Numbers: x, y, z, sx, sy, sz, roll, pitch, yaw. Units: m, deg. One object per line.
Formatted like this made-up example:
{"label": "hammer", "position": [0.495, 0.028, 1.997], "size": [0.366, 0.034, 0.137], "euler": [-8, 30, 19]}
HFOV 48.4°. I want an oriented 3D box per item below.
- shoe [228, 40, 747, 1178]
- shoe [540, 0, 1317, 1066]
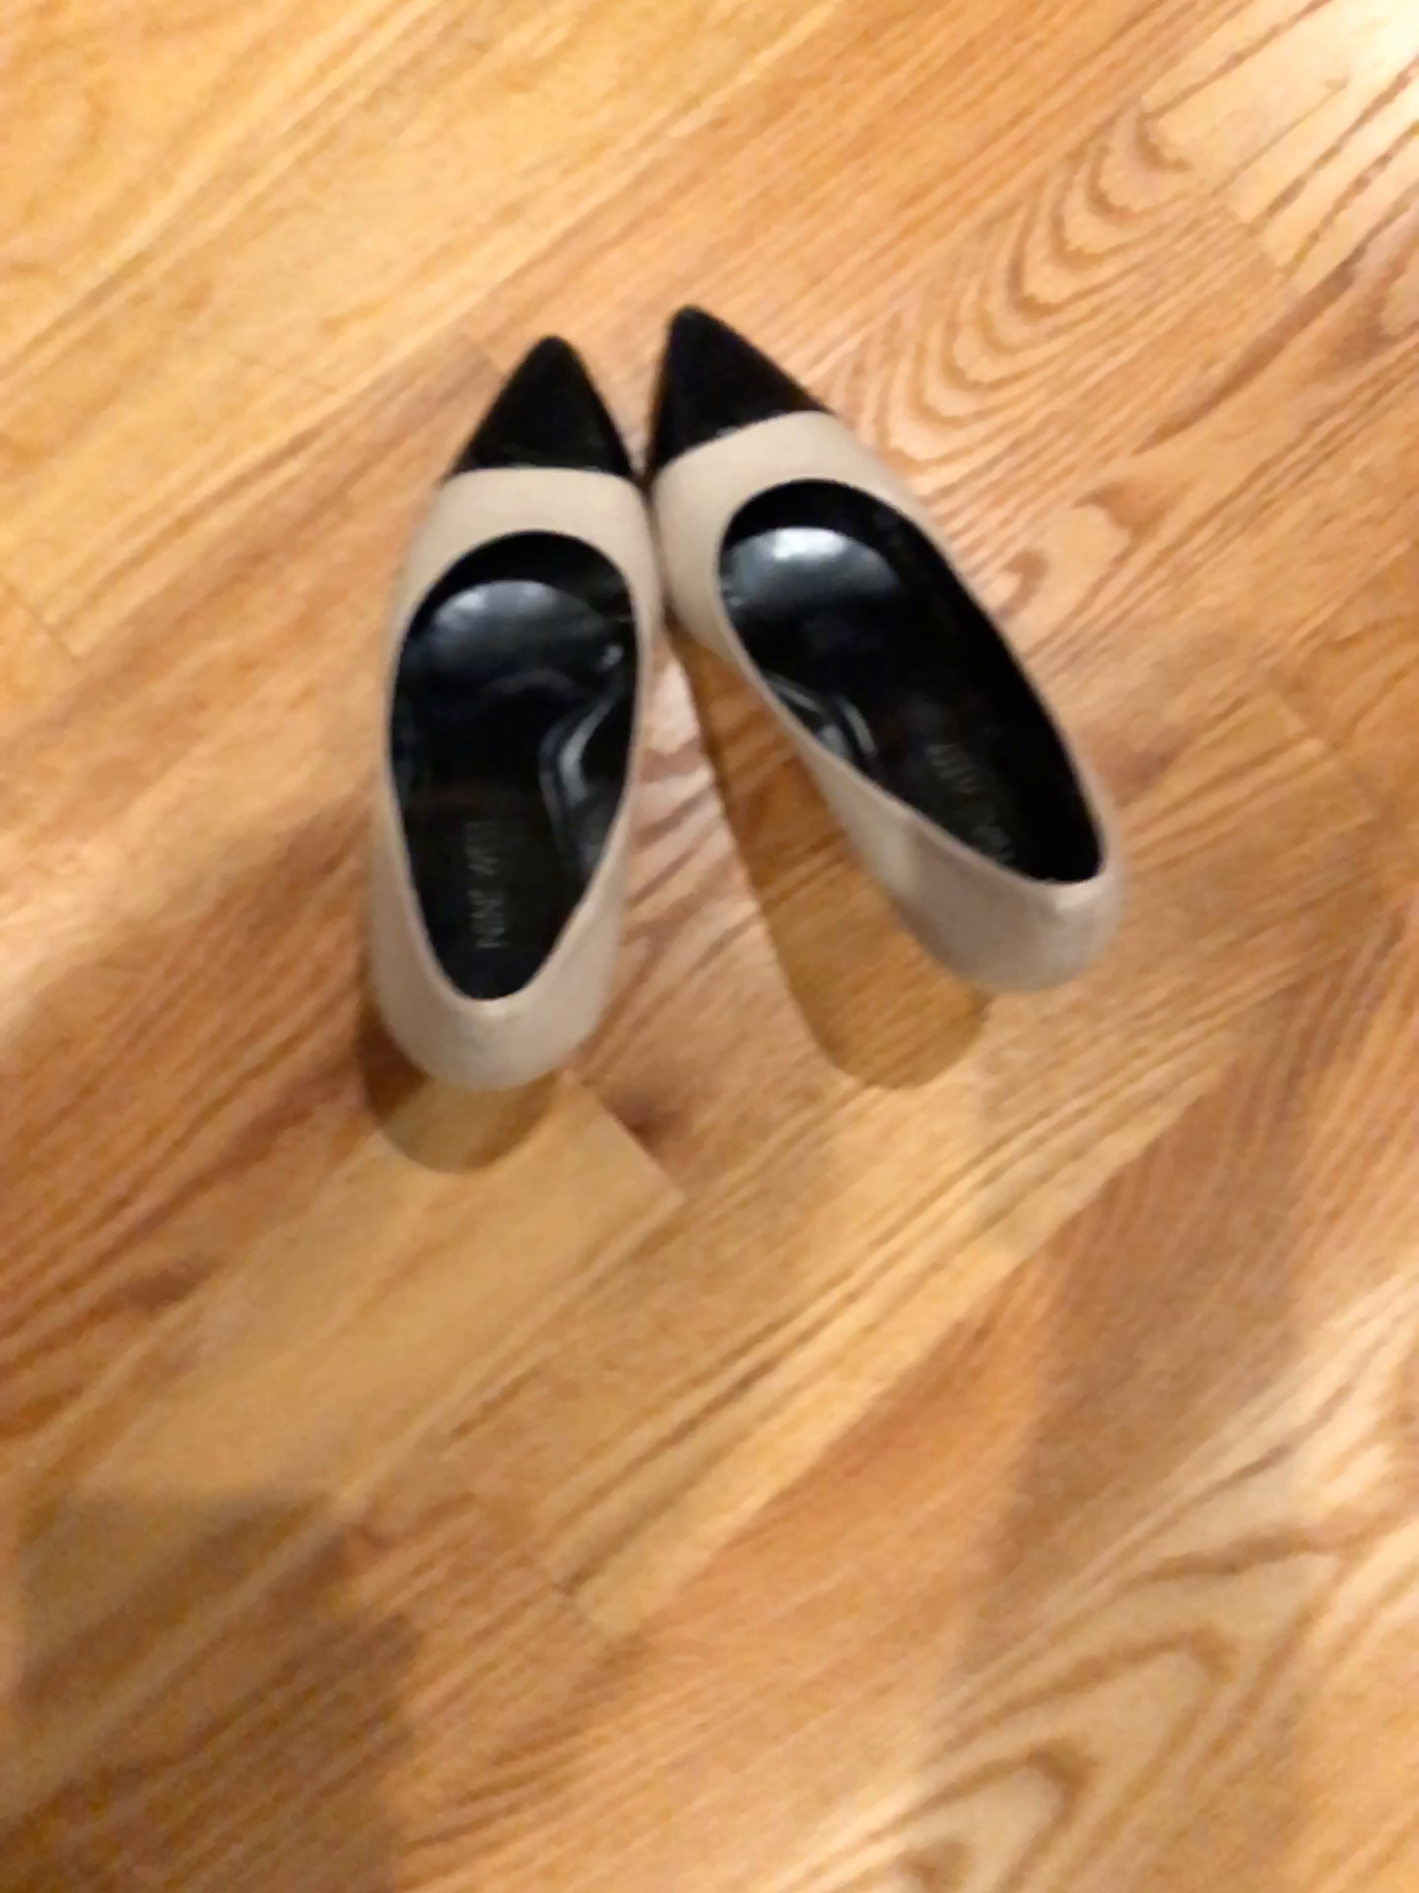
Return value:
{"label": "shoe", "position": [-0.052, -0.070, 0.405], "size": [0.085, 0.139, 0.235], "euler": [6, 88, -5]}
{"label": "shoe", "position": [0.043, -0.097, 0.414], "size": [0.085, 0.139, 0.235], "euler": [-23, 90, -5]}
